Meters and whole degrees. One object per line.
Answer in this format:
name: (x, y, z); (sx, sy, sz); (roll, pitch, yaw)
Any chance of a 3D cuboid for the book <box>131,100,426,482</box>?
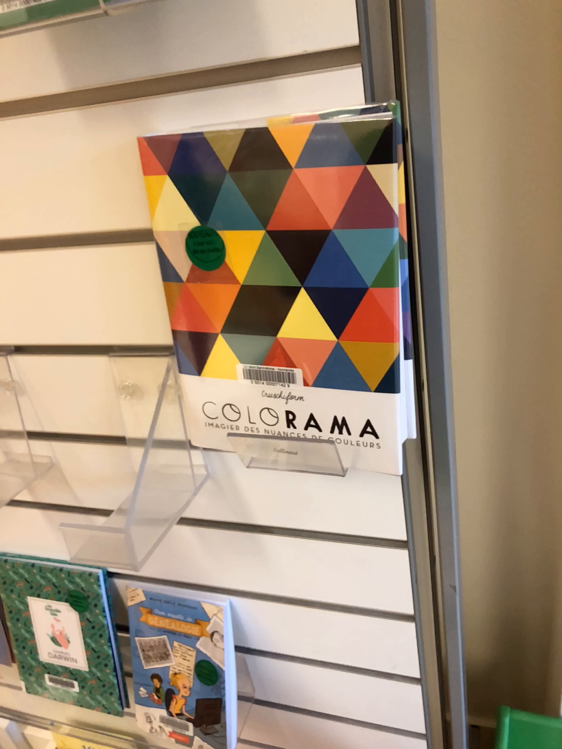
book: (0.005, -0.049, 0.419); (0.170, 0.231, 0.046); (4, 26, 24)
